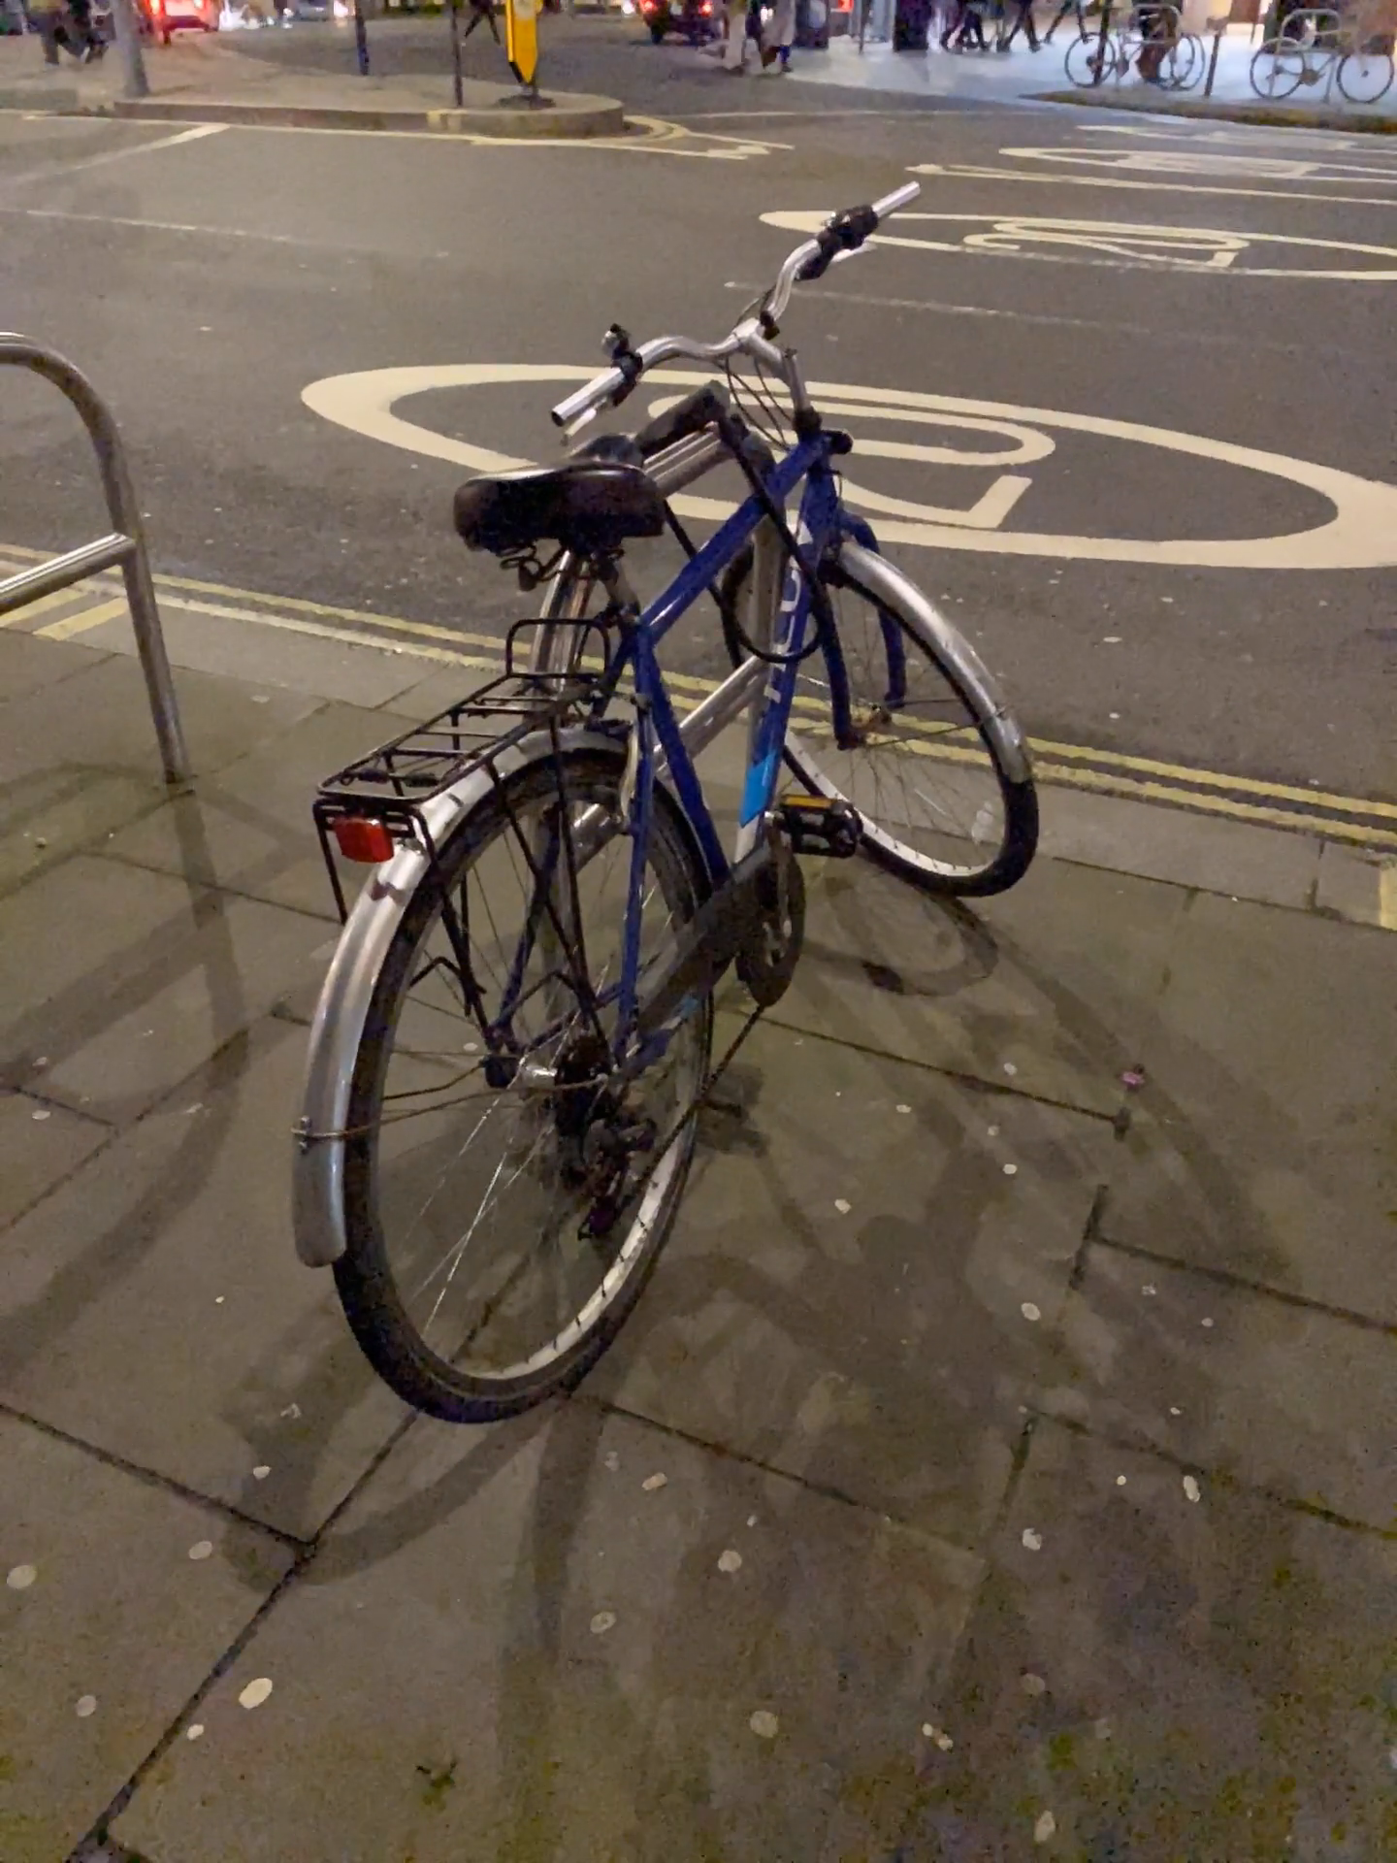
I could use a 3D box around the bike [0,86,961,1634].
[{"bbox_3d":[-0.135,-0.312,1.779,0.655,1.108,1.604,8,37,13],"label":"bike"}]
